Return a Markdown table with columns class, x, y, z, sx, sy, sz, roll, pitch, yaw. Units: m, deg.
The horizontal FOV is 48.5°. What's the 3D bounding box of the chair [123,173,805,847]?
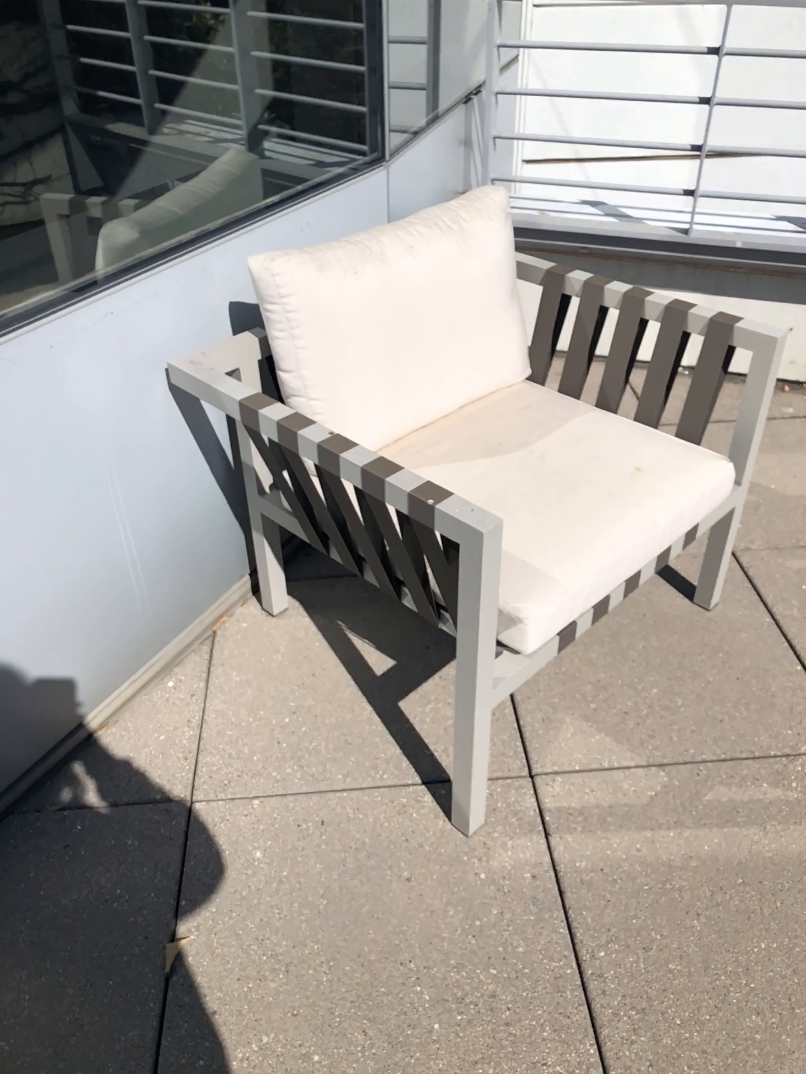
| class | x | y | z | sx | sy | sz | roll | pitch | yaw |
| --- | --- | --- | --- | --- | --- | --- | --- | --- | --- |
| chair | 0.137 | -0.150 | 1.682 | 0.783 | 0.736 | 0.872 | 29 | 45 | 34 |
